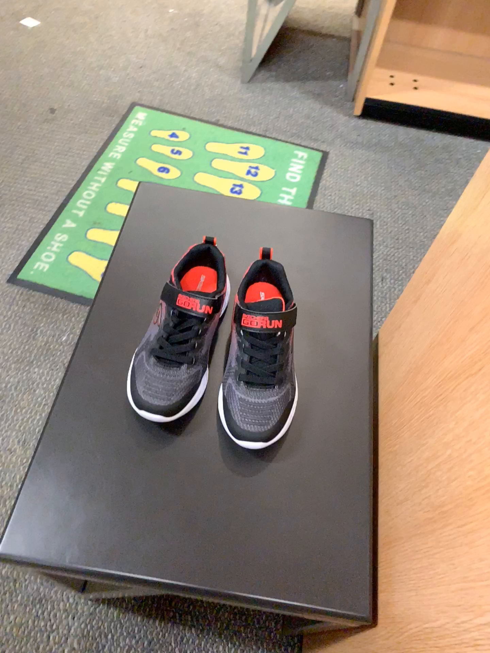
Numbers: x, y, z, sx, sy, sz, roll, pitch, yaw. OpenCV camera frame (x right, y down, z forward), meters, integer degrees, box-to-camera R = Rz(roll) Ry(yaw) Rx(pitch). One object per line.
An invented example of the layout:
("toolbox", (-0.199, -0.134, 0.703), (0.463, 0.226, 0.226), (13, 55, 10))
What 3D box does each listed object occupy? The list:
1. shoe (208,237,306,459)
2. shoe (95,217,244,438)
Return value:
("shoe", (0.017, 0.018, 0.578), (0.090, 0.080, 0.241), (6, 57, -2))
("shoe", (-0.079, -0.006, 0.594), (0.098, 0.080, 0.241), (14, 57, 2))
